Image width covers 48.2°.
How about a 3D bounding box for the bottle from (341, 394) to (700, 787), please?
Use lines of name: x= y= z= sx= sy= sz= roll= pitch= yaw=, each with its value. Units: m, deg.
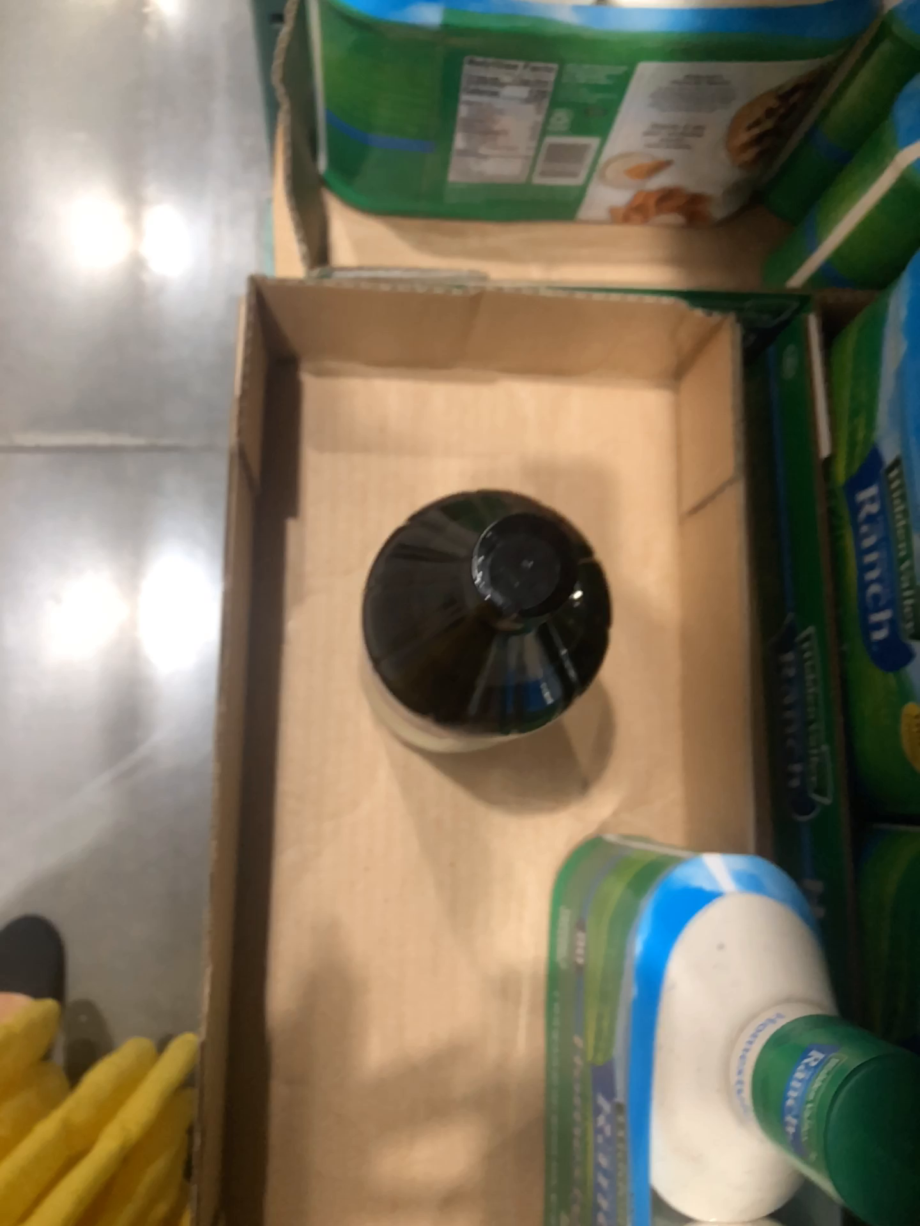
bottle: x=0.007 y=0.011 z=0.406 sx=0.090 sy=0.230 sz=0.100 roll=10 pitch=80 yaw=-5
